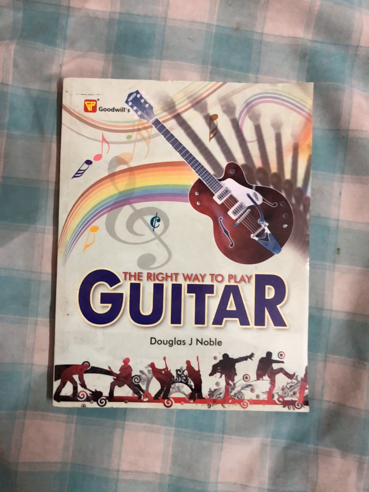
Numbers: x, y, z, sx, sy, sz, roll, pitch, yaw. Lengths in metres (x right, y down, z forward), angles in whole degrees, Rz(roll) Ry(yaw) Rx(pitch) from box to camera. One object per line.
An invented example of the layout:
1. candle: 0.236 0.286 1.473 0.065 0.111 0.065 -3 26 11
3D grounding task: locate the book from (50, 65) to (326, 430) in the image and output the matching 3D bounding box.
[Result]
1. book: 0.005 0.000 0.289 0.180 0.030 0.240 1 87 -1
